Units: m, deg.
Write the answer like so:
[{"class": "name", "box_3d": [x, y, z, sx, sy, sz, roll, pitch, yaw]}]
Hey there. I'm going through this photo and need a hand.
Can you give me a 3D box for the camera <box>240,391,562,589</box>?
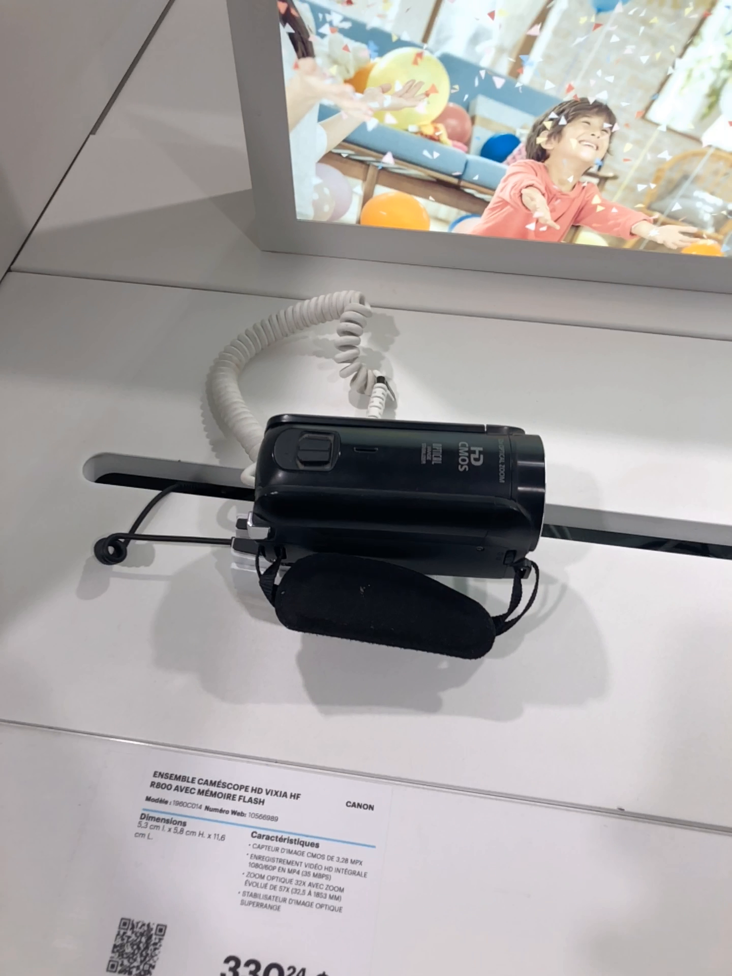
[{"class": "camera", "box_3d": [0.014, 0.001, 0.318, 0.113, 0.050, 0.050, 4, 55, 3]}]
